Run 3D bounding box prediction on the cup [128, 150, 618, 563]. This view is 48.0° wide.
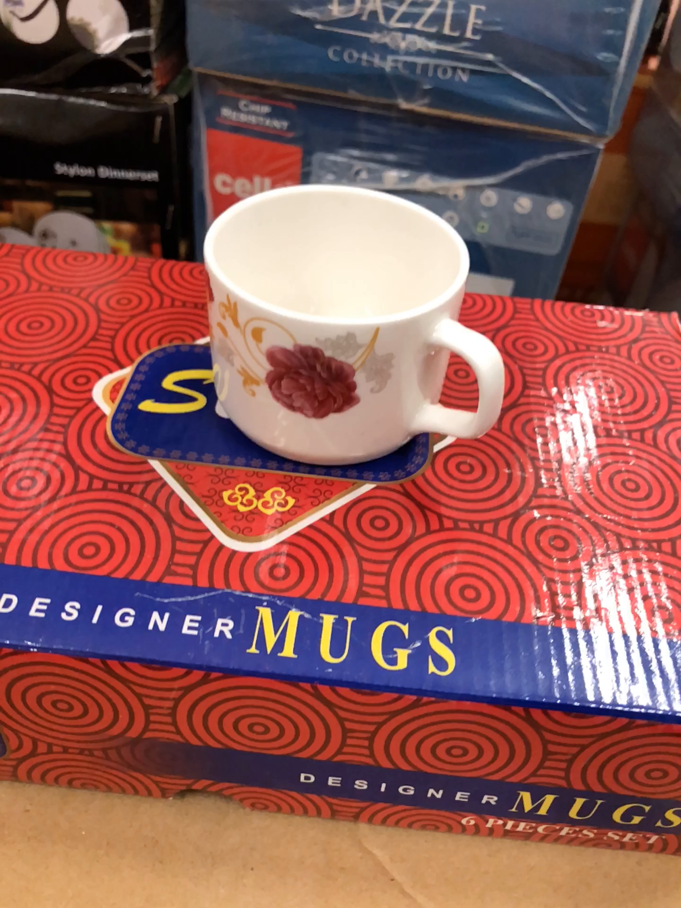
[{"bbox_3d":[0.007,-0.035,0.215,0.100,0.050,0.081,32,48,24],"label":"cup"}]
